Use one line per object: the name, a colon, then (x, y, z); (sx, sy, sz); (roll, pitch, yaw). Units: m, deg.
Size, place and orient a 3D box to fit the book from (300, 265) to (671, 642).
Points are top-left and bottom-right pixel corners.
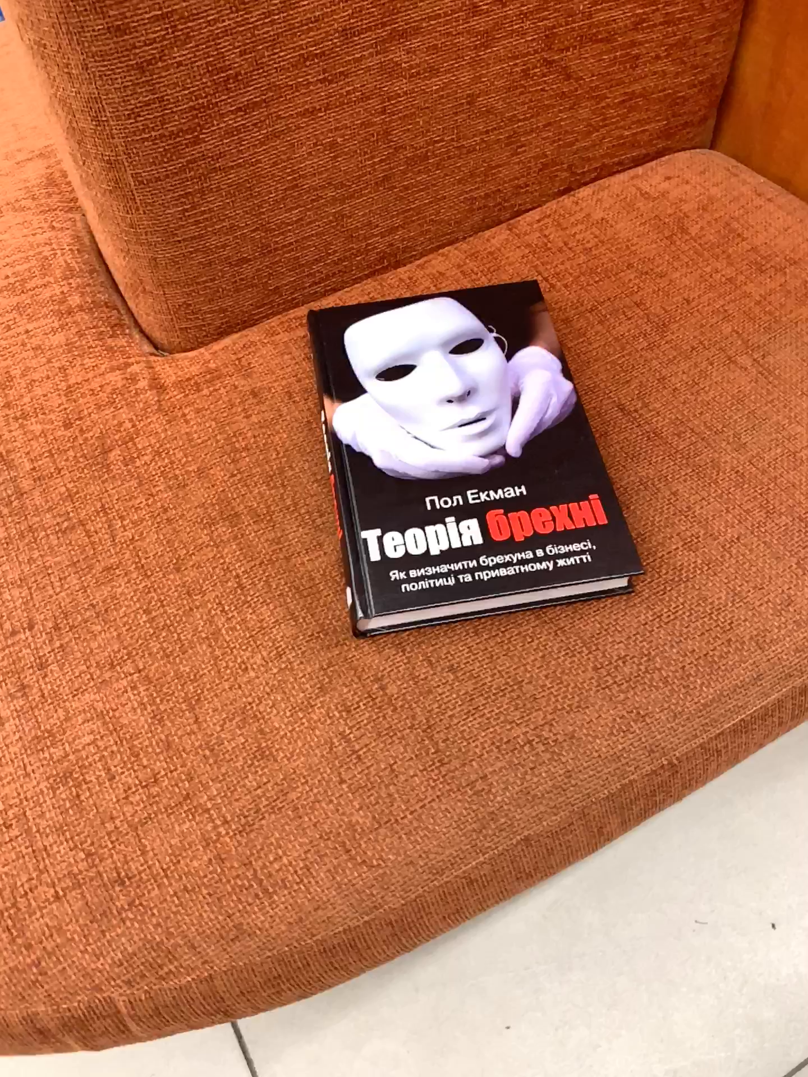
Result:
book: (0.031, -0.057, 0.444); (0.150, 0.030, 0.209); (-10, 56, -3)
